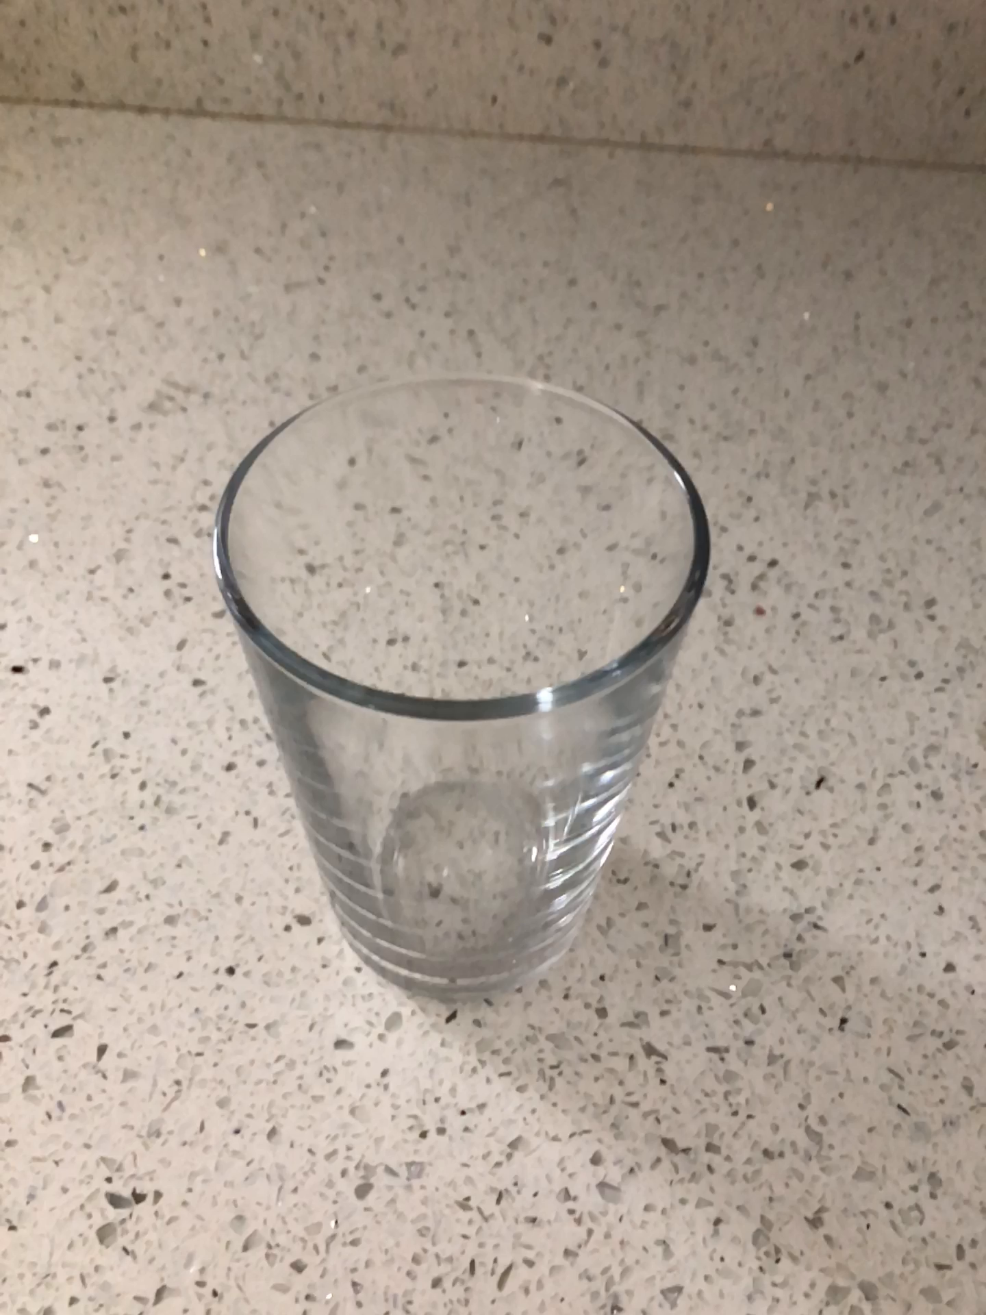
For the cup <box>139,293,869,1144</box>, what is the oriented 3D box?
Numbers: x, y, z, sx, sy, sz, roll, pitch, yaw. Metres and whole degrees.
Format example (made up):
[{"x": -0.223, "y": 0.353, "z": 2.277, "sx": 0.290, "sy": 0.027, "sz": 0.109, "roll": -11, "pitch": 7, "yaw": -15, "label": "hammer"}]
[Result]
[{"x": -0.004, "y": 0.014, "z": 0.197, "sx": 0.074, "sy": 0.114, "sz": 0.080, "roll": 1, "pitch": 49, "yaw": -1, "label": "cup"}]
